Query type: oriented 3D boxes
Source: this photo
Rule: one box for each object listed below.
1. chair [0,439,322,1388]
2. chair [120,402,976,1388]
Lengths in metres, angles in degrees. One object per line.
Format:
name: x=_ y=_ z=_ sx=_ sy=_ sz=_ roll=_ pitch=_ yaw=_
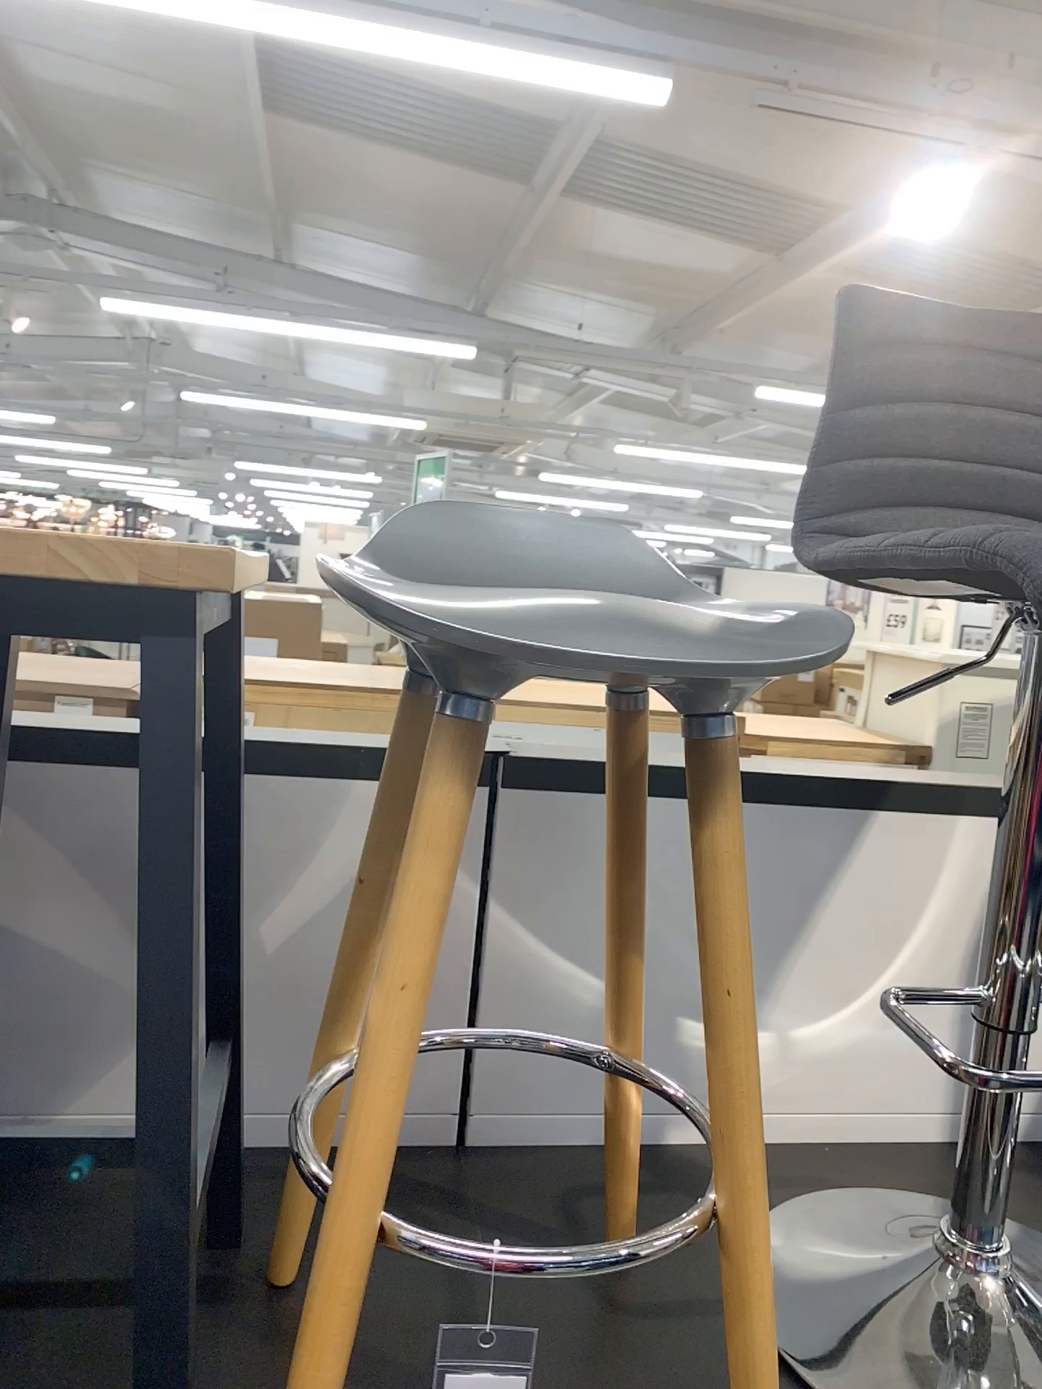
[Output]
chair: x=-0.410 y=0.209 z=0.811 sx=0.442 sy=0.689 sz=0.502 roll=4 pitch=5 yaw=-13
chair: x=-0.020 y=0.203 z=0.851 sx=0.442 sy=0.739 sz=0.462 roll=5 pitch=5 yaw=-11
